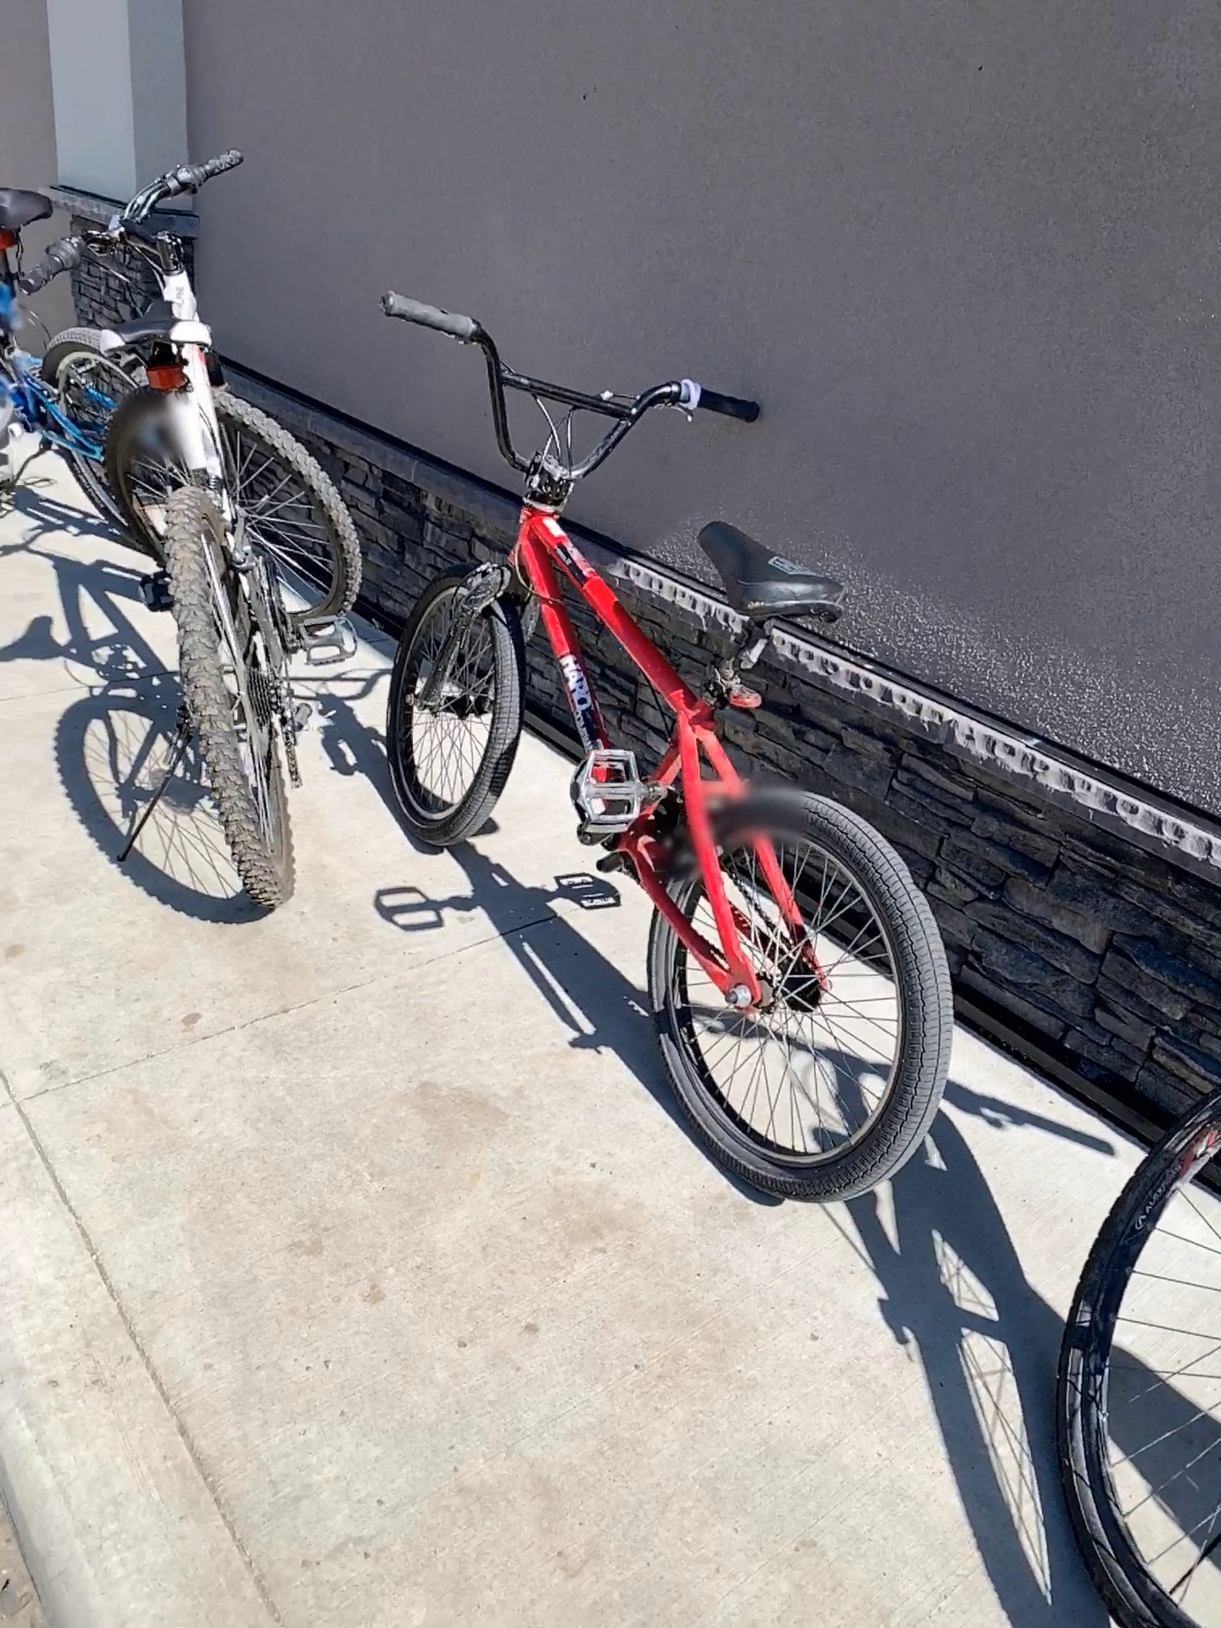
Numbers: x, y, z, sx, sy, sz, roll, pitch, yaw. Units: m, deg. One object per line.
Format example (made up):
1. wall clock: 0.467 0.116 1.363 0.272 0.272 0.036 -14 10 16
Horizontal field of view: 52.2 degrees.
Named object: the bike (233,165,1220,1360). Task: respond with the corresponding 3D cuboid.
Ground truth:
1. bike: 0.068 -0.241 1.752 0.774 0.908 1.317 -10 36 -32
